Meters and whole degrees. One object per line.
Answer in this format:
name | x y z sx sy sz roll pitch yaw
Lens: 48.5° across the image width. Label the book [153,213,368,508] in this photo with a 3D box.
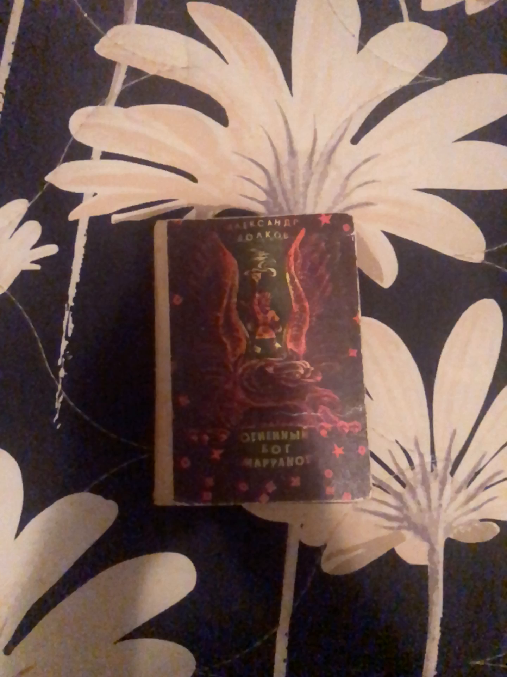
book | 0.003 0.015 0.421 0.152 0.020 0.211 -1 86 0
